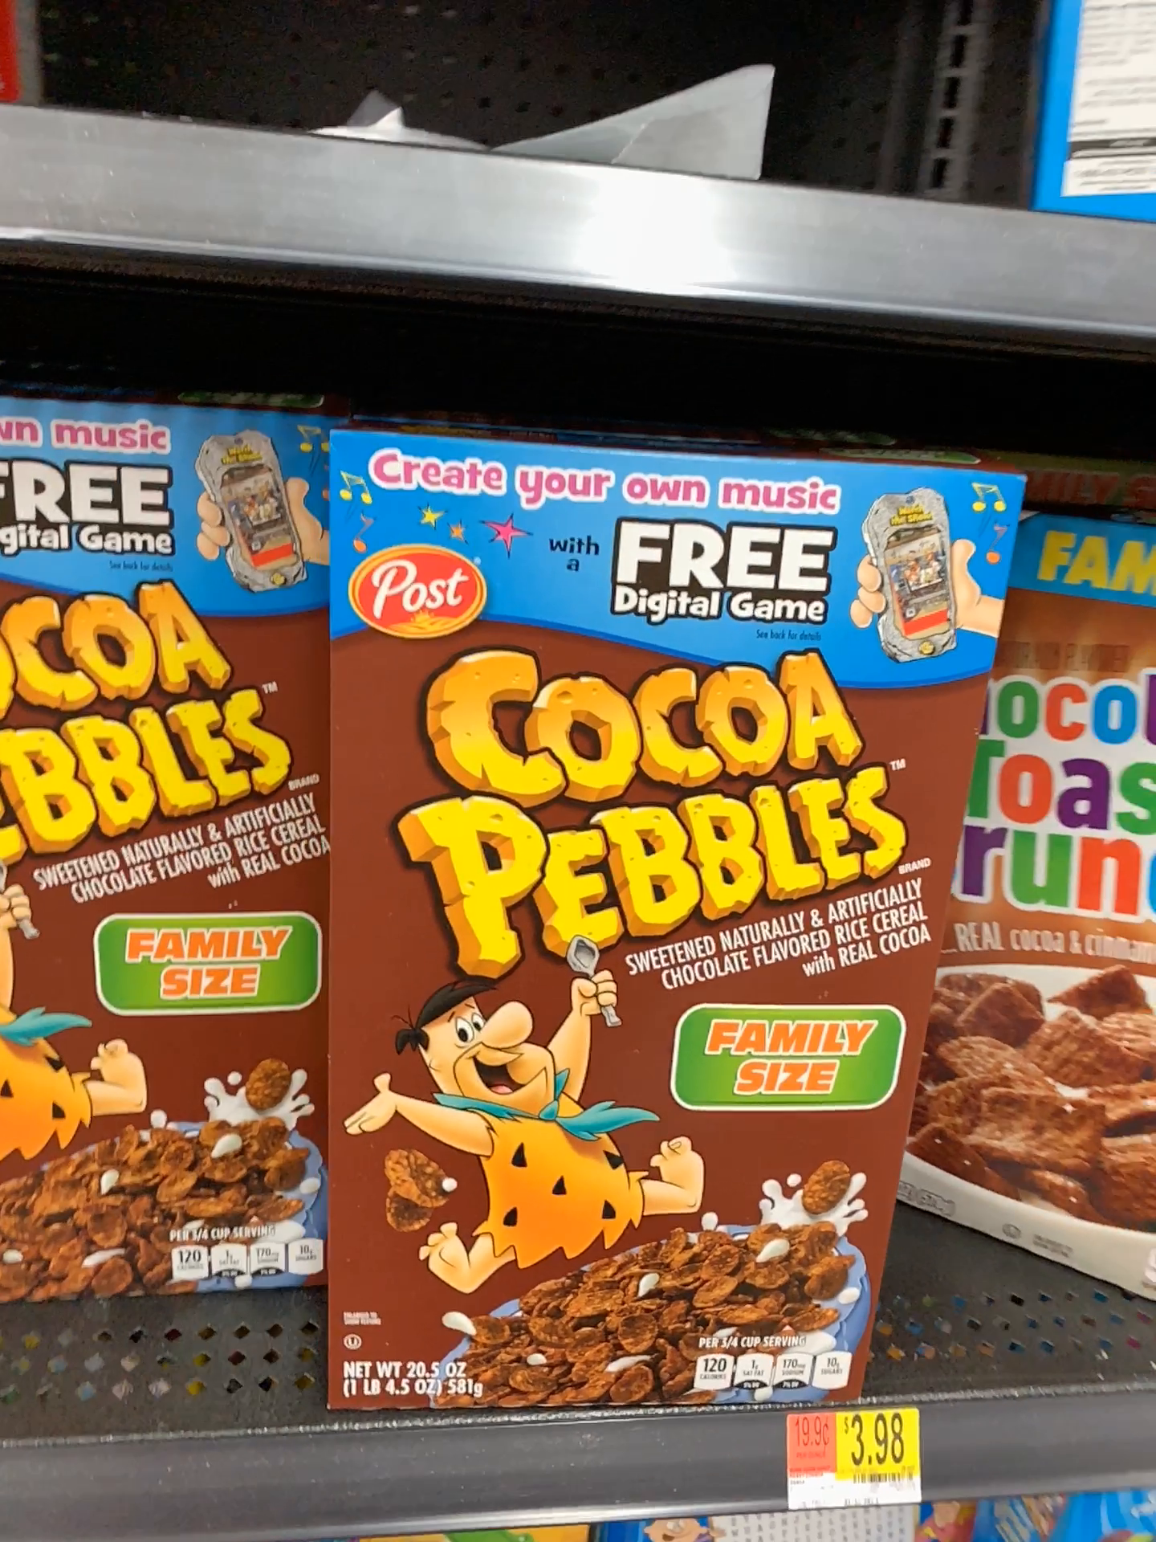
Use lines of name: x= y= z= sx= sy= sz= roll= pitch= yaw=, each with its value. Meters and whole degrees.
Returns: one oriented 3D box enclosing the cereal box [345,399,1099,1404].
cereal box: x=0.029 y=0.056 z=0.399 sx=0.200 sy=0.329 sz=0.060 roll=3 pitch=18 yaw=-6
